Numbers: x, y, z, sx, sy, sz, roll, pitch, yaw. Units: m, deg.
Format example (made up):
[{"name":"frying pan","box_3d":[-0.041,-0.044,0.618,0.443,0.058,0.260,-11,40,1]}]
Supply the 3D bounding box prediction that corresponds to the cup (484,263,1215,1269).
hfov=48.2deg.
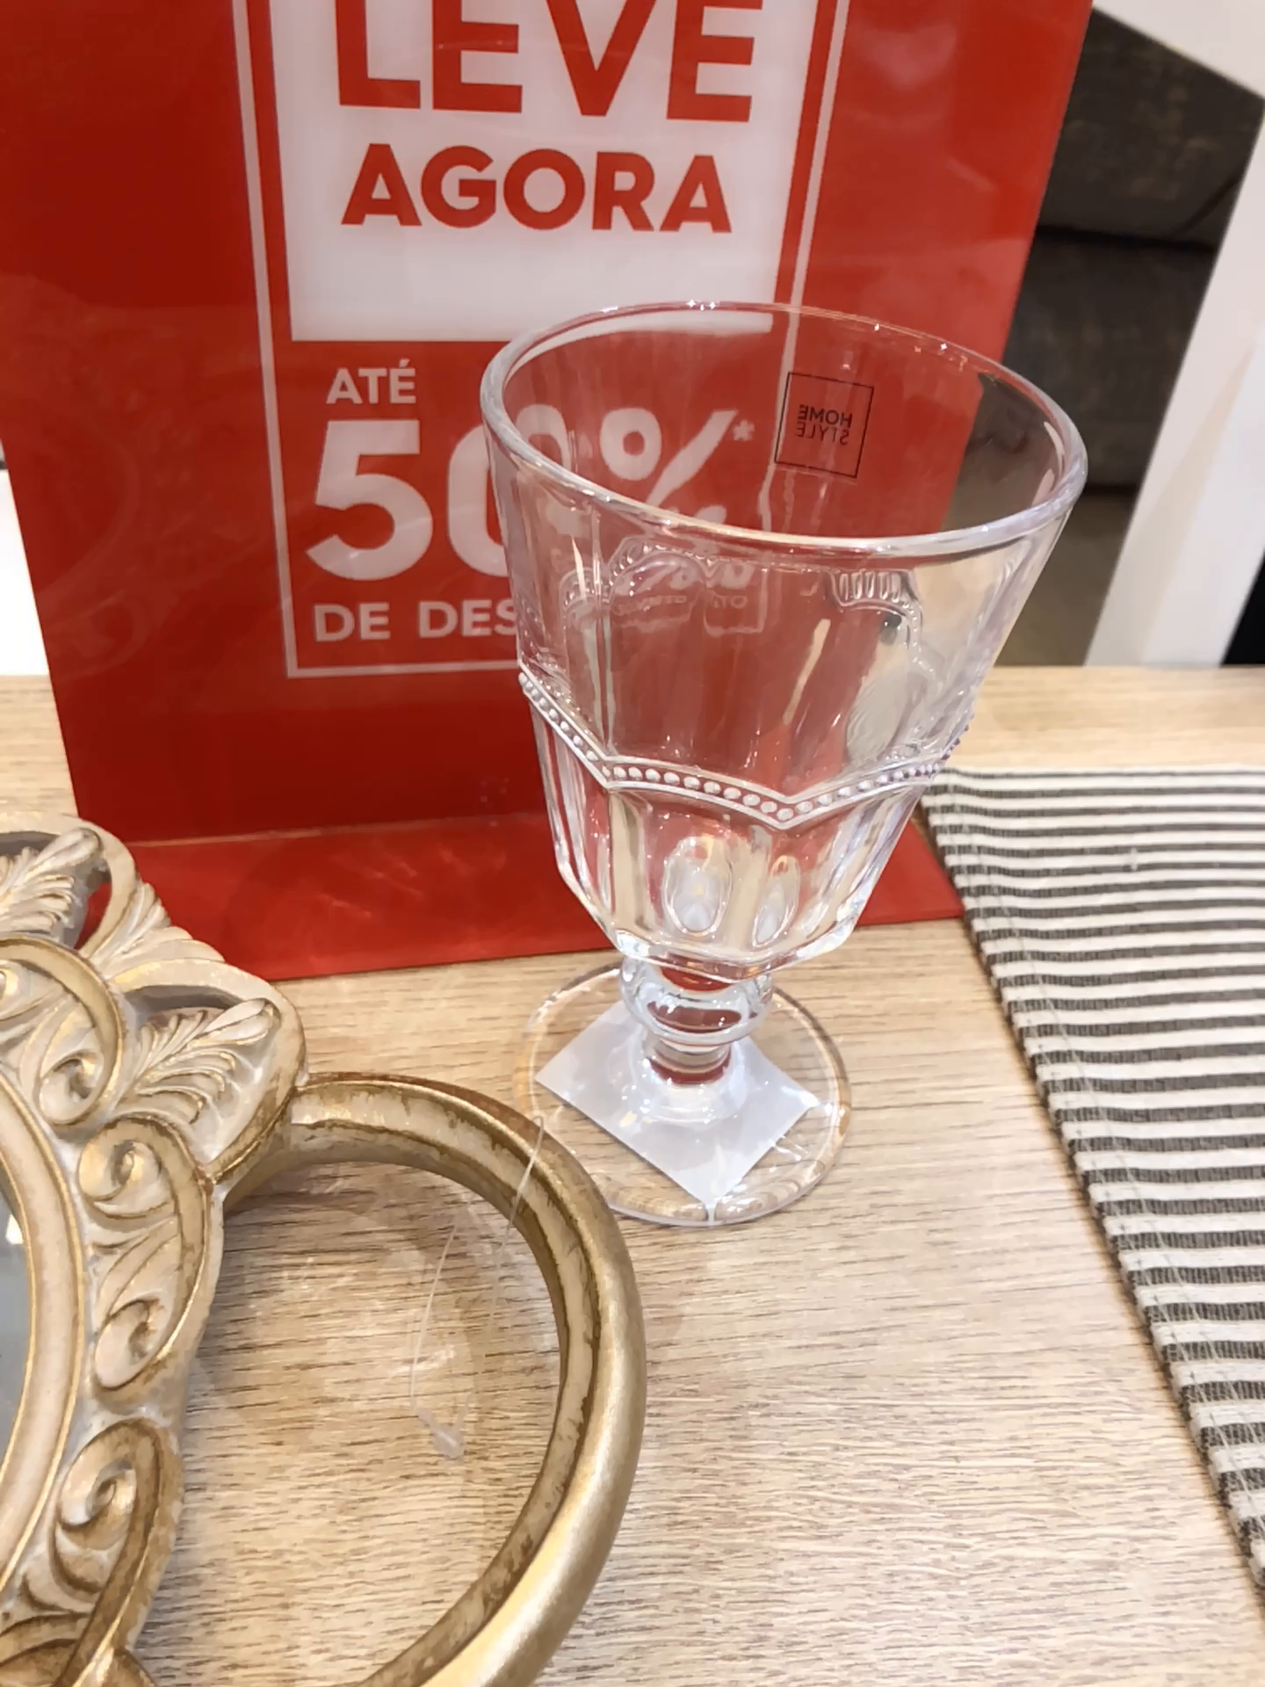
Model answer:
[{"name":"cup","box_3d":[0.017,-0.007,0.229,0.080,0.139,0.081,3,39,-3]}]
